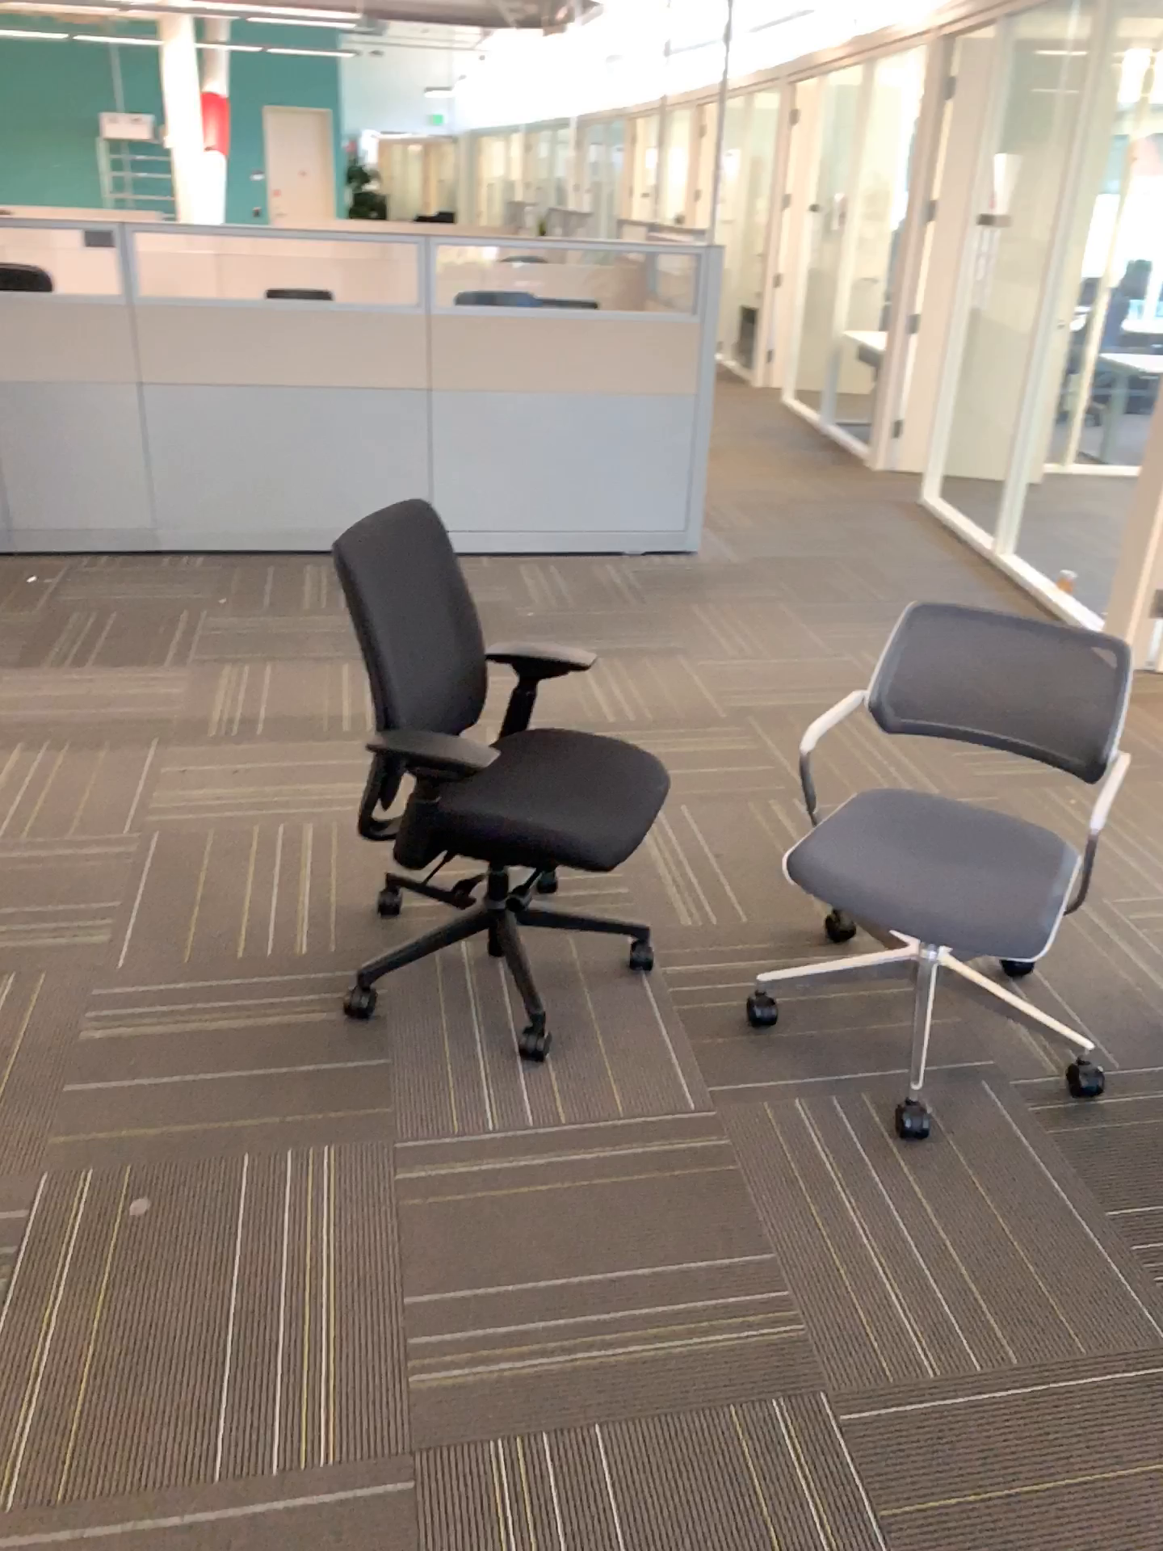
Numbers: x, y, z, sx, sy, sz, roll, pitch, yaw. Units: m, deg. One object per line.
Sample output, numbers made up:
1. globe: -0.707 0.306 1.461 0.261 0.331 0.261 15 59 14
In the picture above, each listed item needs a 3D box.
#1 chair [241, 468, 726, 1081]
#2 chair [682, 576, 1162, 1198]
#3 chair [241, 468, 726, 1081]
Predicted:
1. chair: -0.148 -0.061 2.470 0.711 0.915 0.824 8 26 11
2. chair: 0.705 0.143 2.313 0.732 0.776 0.753 14 28 22
3. chair: -0.148 -0.061 2.470 0.711 0.915 0.824 8 26 11
